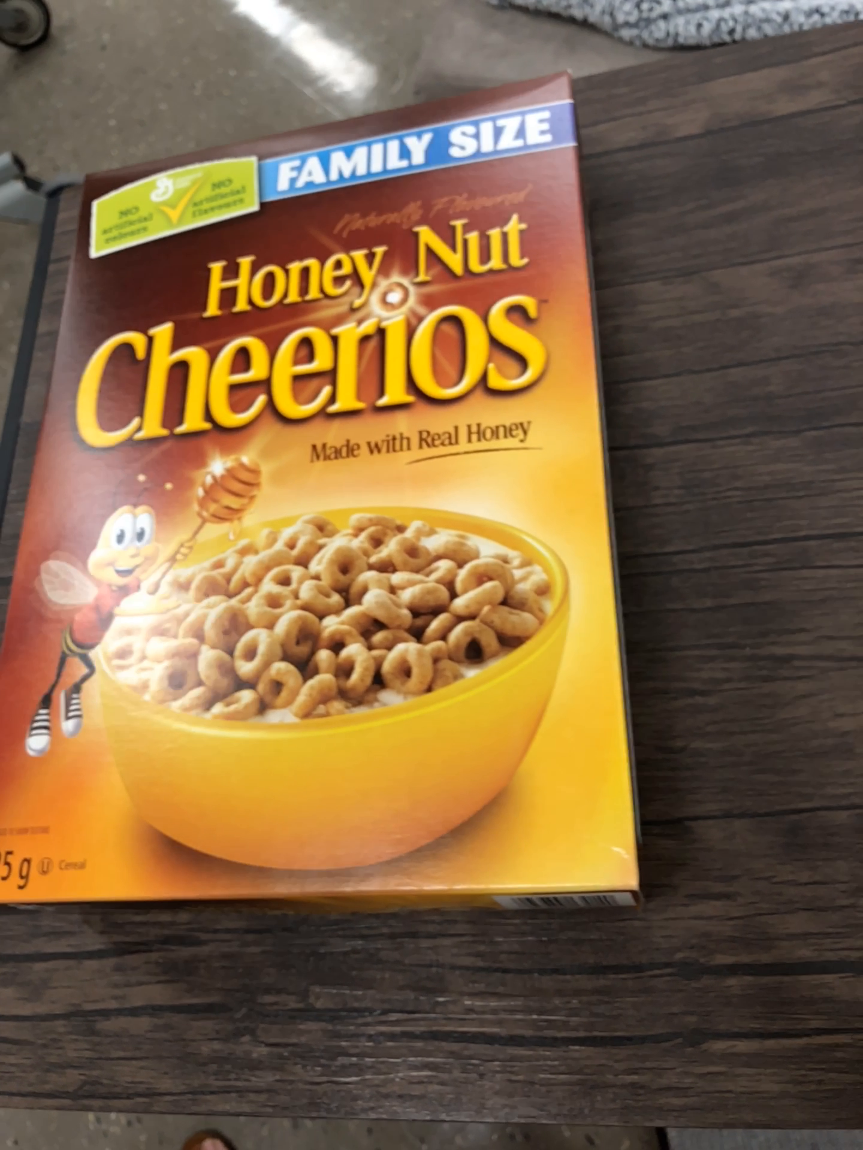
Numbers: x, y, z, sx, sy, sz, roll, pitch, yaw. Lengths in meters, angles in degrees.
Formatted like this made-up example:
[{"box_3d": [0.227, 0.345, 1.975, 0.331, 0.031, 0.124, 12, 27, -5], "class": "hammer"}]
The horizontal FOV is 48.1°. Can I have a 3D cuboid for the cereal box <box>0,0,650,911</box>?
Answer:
[{"box_3d": [-0.051, -0.058, 0.425, 0.250, 0.080, 0.380, -6, 66, 15], "class": "cereal box"}]
